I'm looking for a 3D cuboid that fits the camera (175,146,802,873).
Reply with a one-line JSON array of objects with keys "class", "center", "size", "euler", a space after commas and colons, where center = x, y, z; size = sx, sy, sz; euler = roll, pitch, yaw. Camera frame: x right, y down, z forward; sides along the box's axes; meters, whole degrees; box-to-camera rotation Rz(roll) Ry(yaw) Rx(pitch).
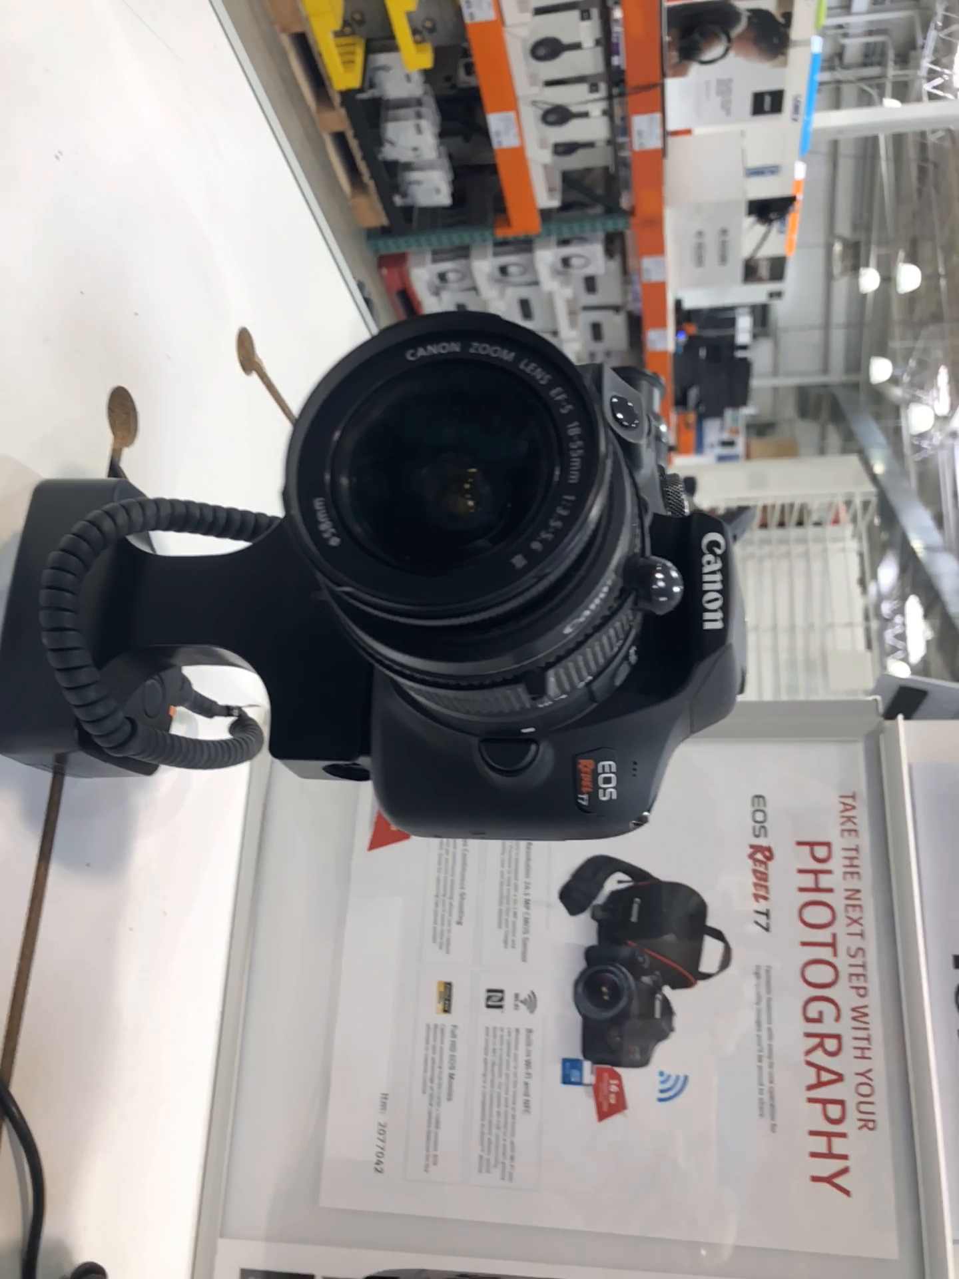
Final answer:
[{"class": "camera", "center": [0.015, -0.013, 0.272], "size": [0.150, 0.110, 0.130], "euler": [57, 34, -71]}]
